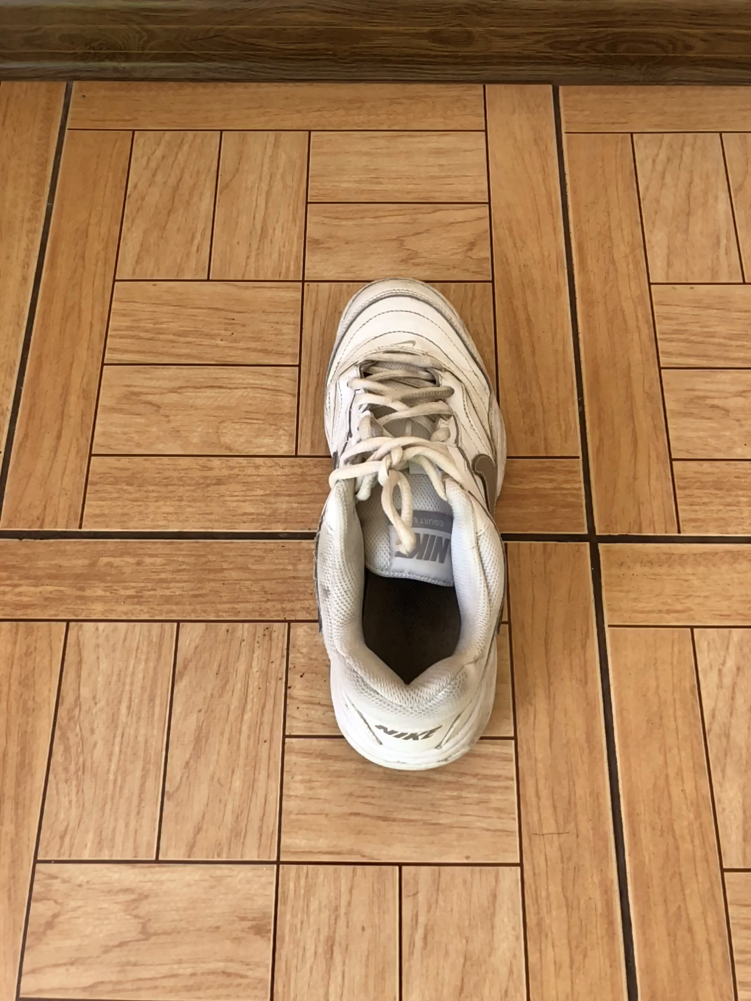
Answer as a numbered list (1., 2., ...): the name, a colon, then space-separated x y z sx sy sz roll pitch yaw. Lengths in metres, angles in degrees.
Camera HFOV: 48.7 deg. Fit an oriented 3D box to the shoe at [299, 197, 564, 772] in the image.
1. shoe: 0.021 -0.006 0.404 0.100 0.100 0.260 0 71 0
